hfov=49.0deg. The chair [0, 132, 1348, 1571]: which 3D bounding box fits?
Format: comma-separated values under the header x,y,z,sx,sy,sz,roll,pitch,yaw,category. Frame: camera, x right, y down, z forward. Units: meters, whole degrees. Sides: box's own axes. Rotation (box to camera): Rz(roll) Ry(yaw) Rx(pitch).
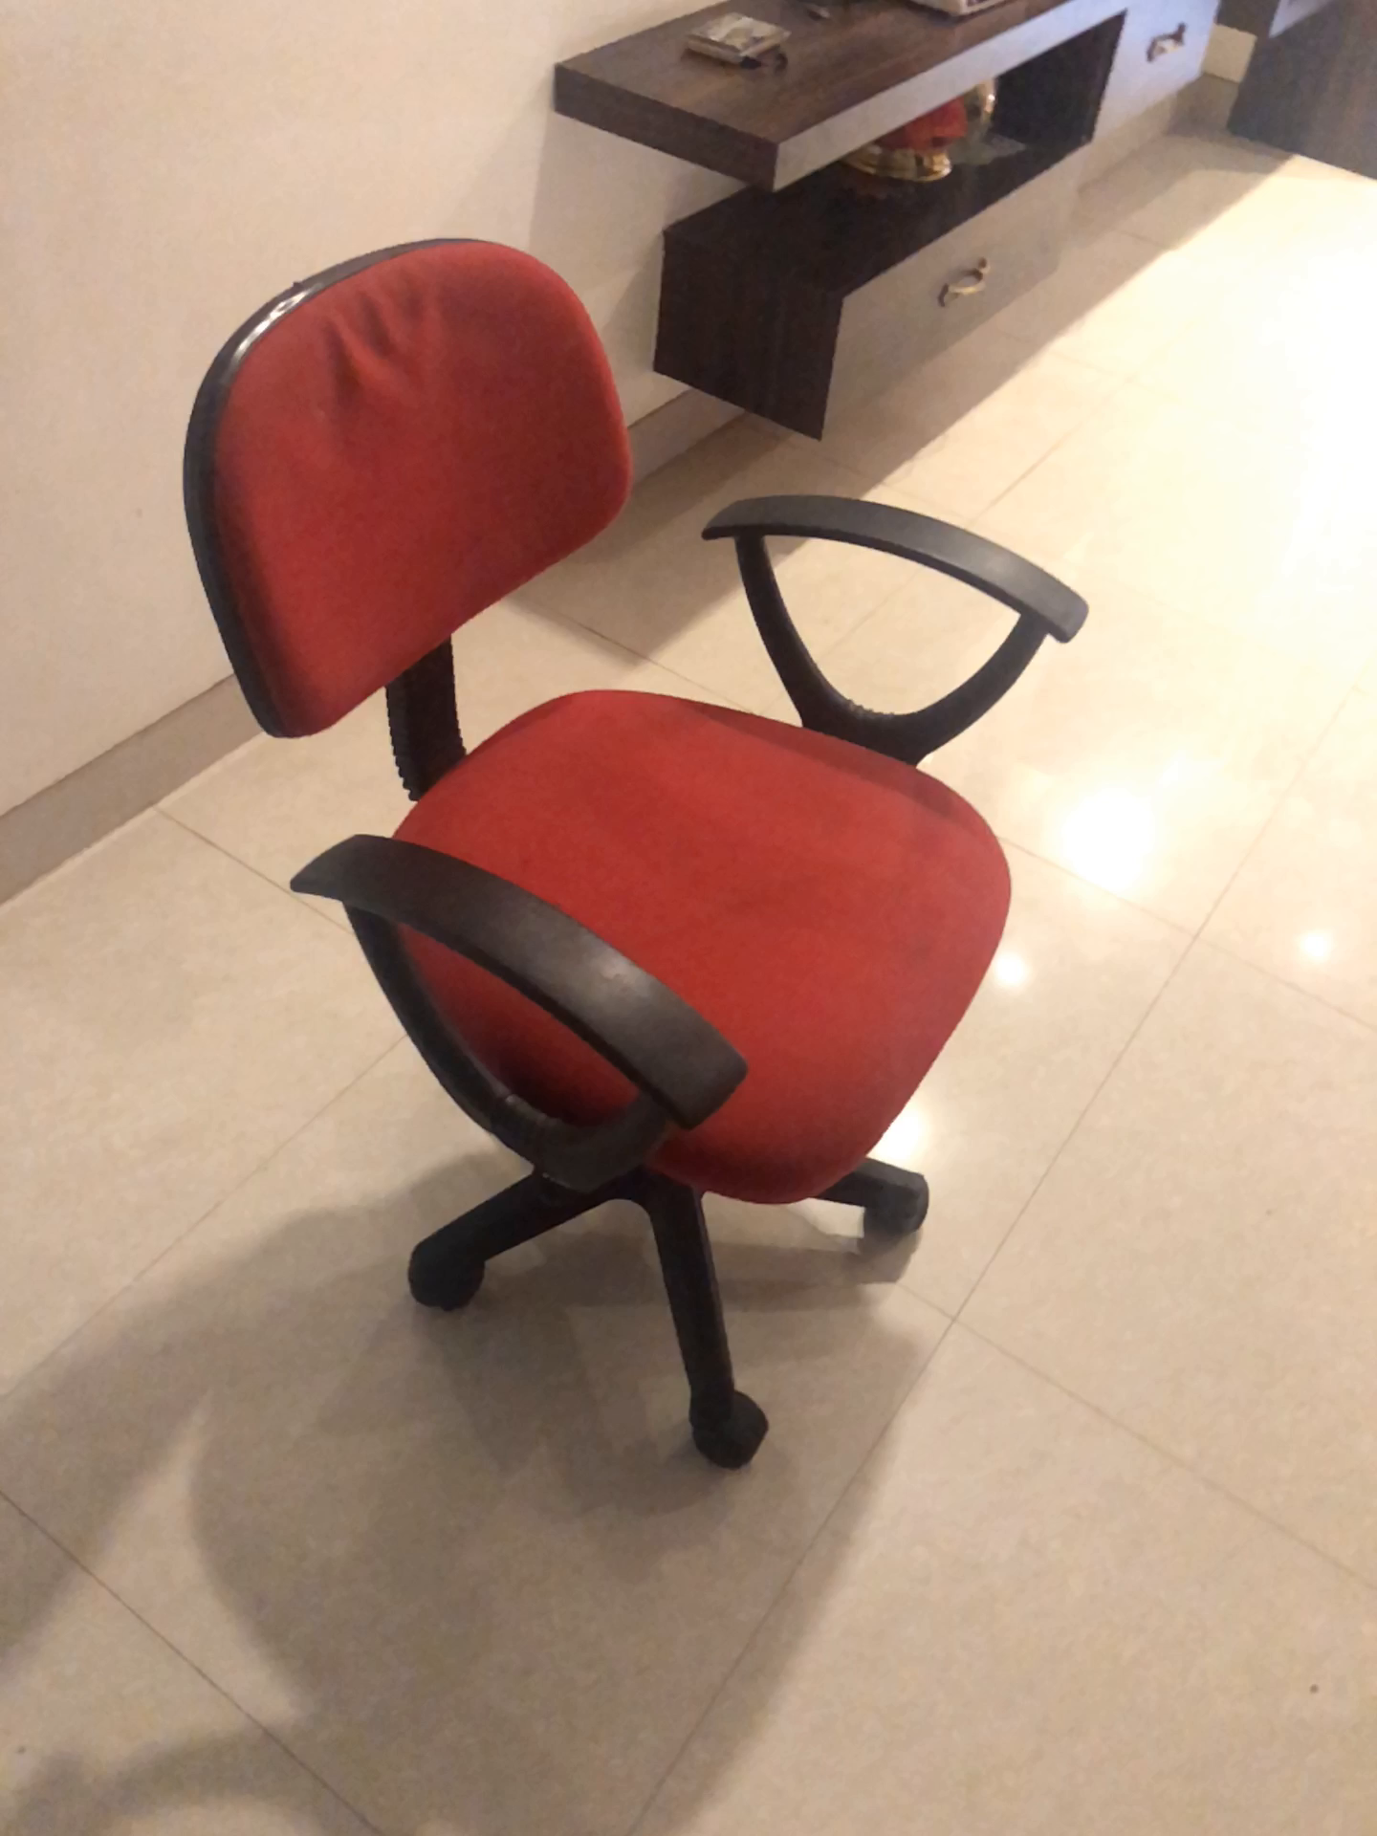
x,y,z,sx,sy,sz,roll,pitch,yaw,category
-0.018,-0.049,1.131,0.601,0.725,0.543,28,50,18,chair
